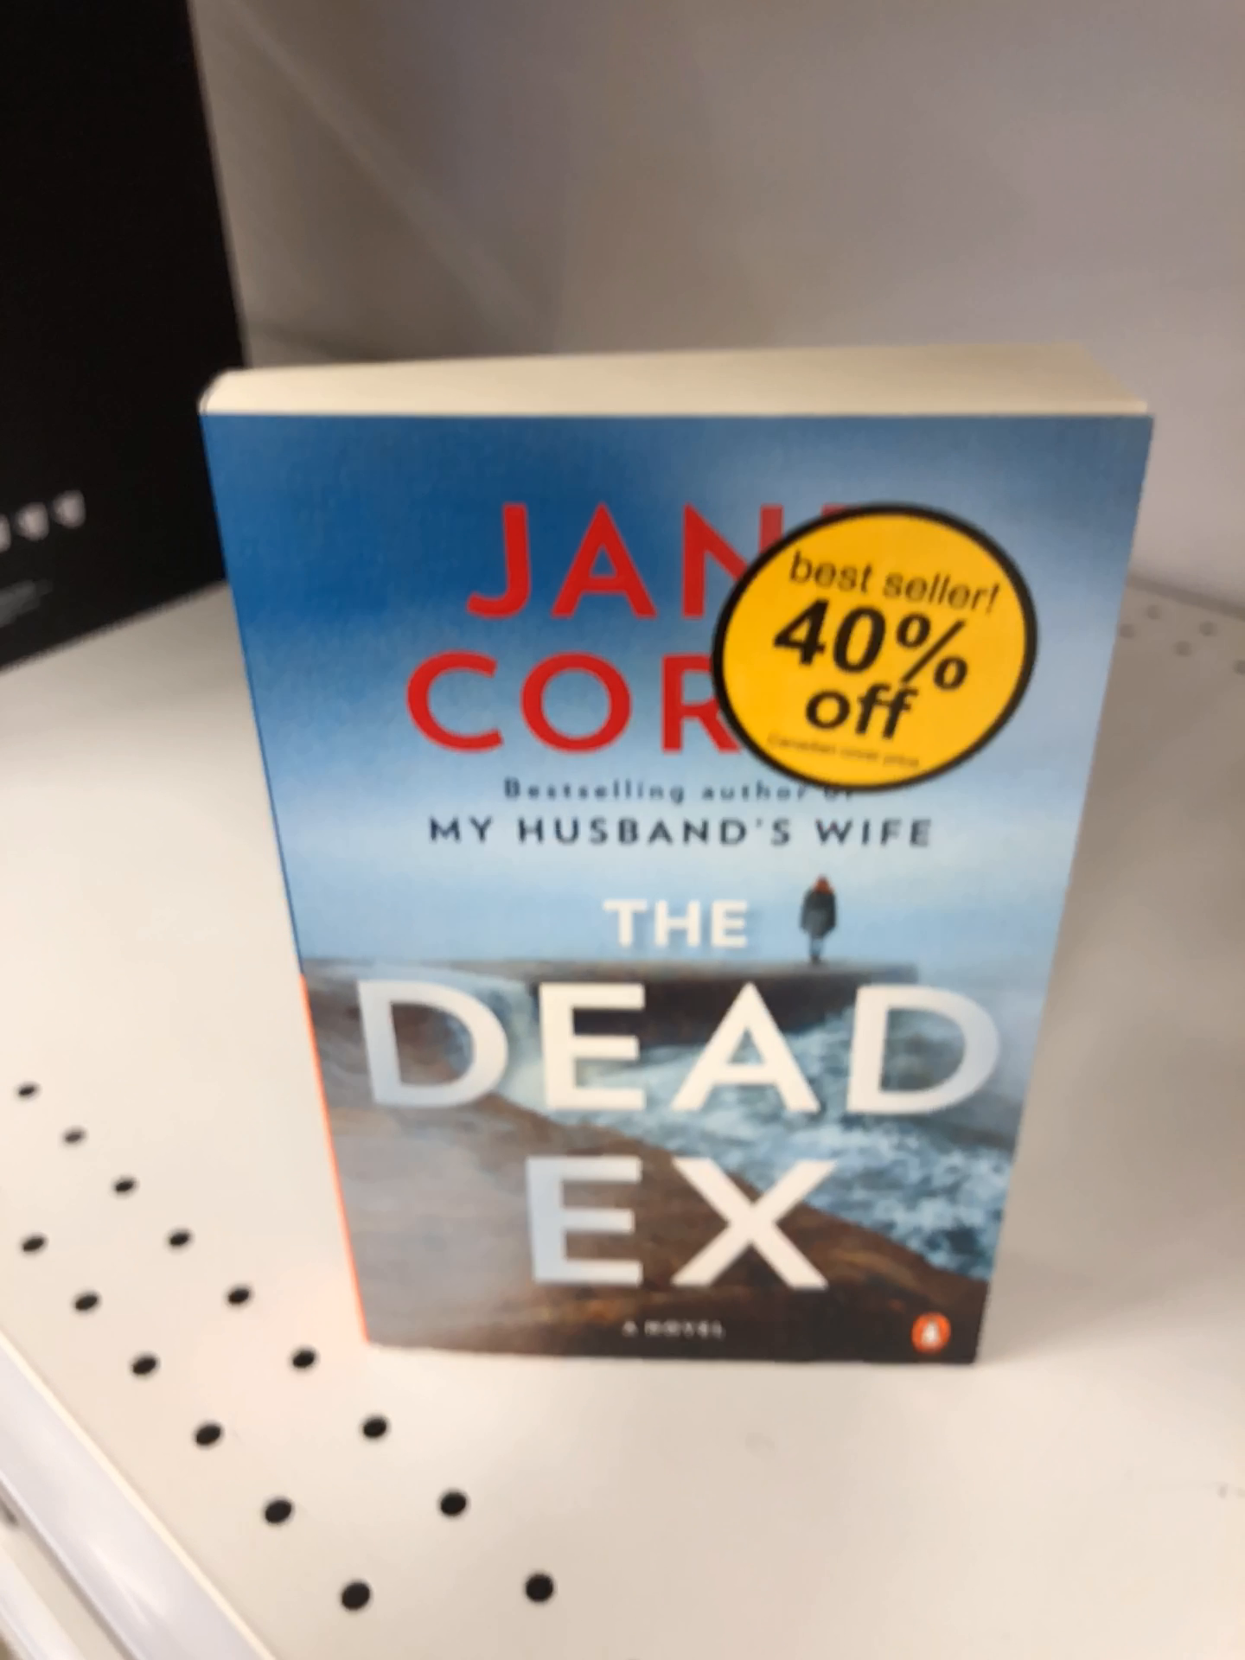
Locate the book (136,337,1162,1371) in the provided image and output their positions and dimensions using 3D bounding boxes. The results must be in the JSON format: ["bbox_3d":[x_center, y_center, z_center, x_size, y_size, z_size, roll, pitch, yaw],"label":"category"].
[{"bbox_3d":[0.007,0.019,0.275,0.146,0.211,0.040,1,33,4],"label":"book"}]
